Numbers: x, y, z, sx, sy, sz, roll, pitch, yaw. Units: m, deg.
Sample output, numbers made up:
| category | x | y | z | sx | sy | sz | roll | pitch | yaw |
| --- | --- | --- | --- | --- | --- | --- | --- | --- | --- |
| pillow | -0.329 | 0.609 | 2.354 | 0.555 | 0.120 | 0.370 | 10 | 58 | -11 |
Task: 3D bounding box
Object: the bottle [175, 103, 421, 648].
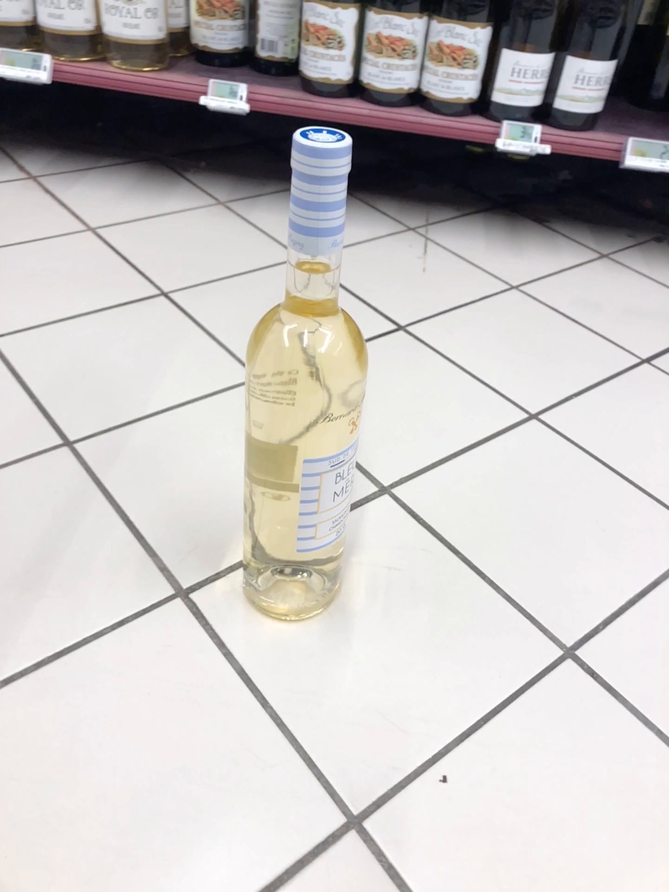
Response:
| category | x | y | z | sx | sy | sz | roll | pitch | yaw |
| --- | --- | --- | --- | --- | --- | --- | --- | --- | --- |
| bottle | -0.029 | -0.021 | 0.433 | 0.080 | 0.308 | 0.081 | 4 | 39 | -3 |
